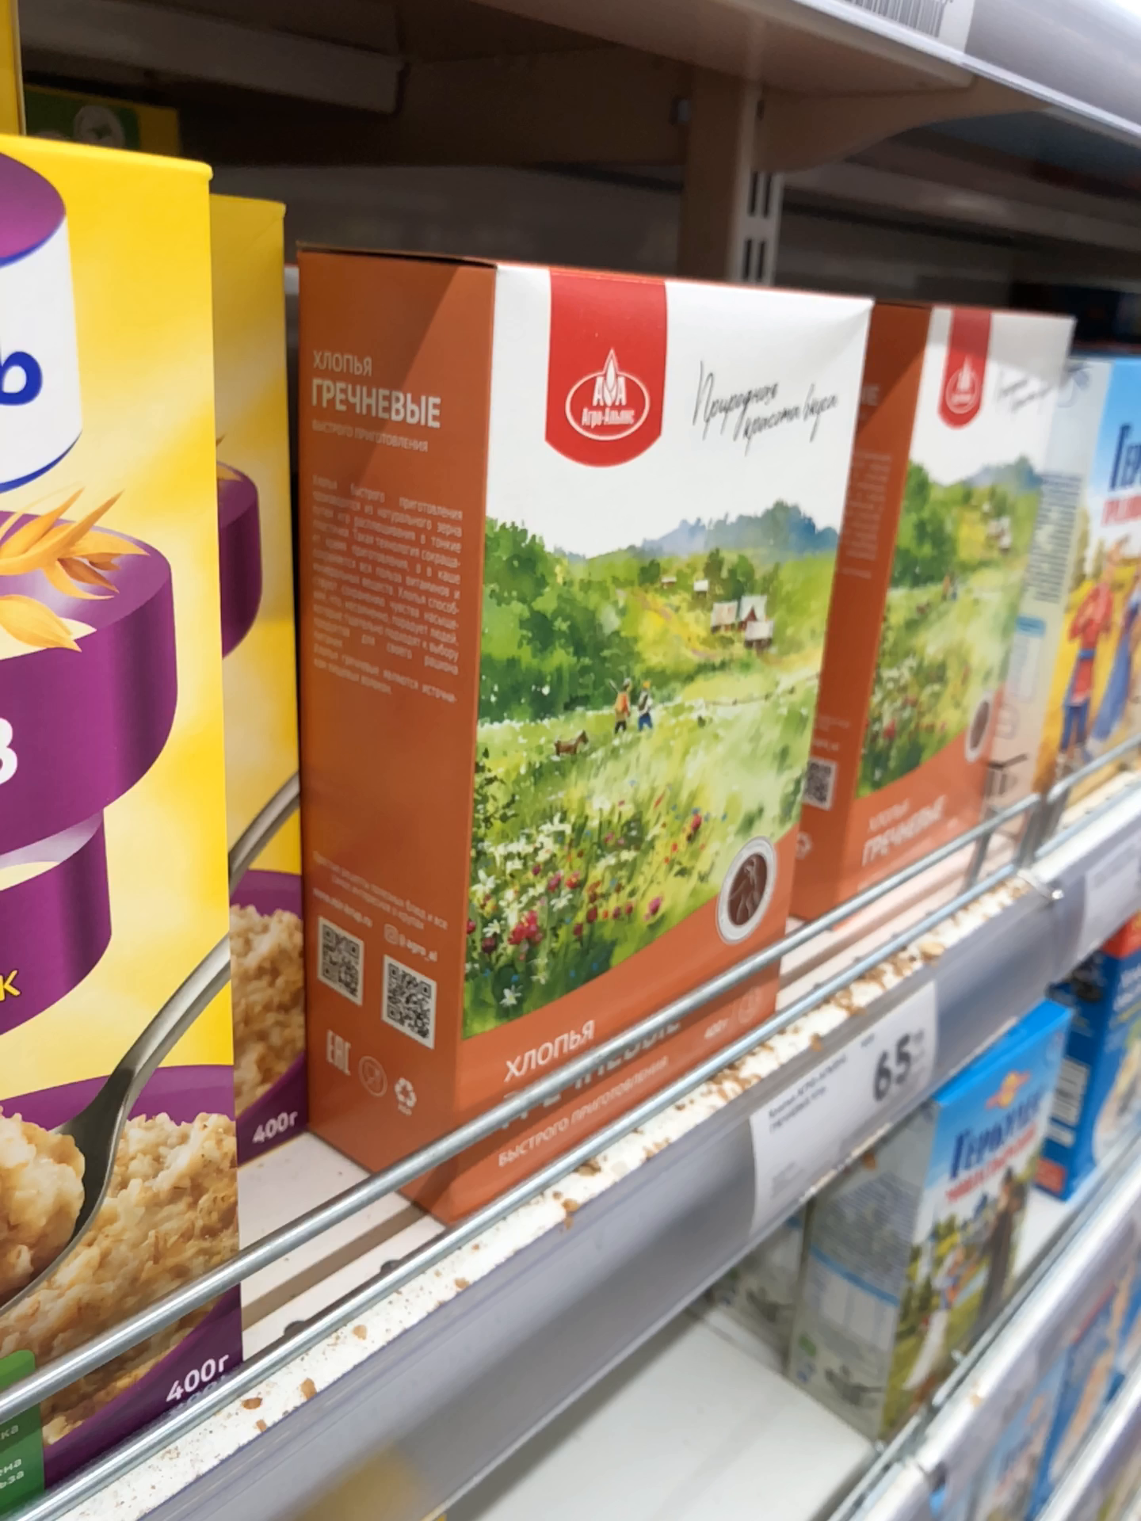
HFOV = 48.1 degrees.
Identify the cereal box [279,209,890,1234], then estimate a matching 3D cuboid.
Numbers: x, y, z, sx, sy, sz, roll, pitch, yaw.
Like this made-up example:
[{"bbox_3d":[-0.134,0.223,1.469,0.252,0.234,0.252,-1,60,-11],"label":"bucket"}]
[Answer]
[{"bbox_3d":[0.006,-0.016,0.303,0.050,0.199,0.140,19,25,37],"label":"cereal box"}]
